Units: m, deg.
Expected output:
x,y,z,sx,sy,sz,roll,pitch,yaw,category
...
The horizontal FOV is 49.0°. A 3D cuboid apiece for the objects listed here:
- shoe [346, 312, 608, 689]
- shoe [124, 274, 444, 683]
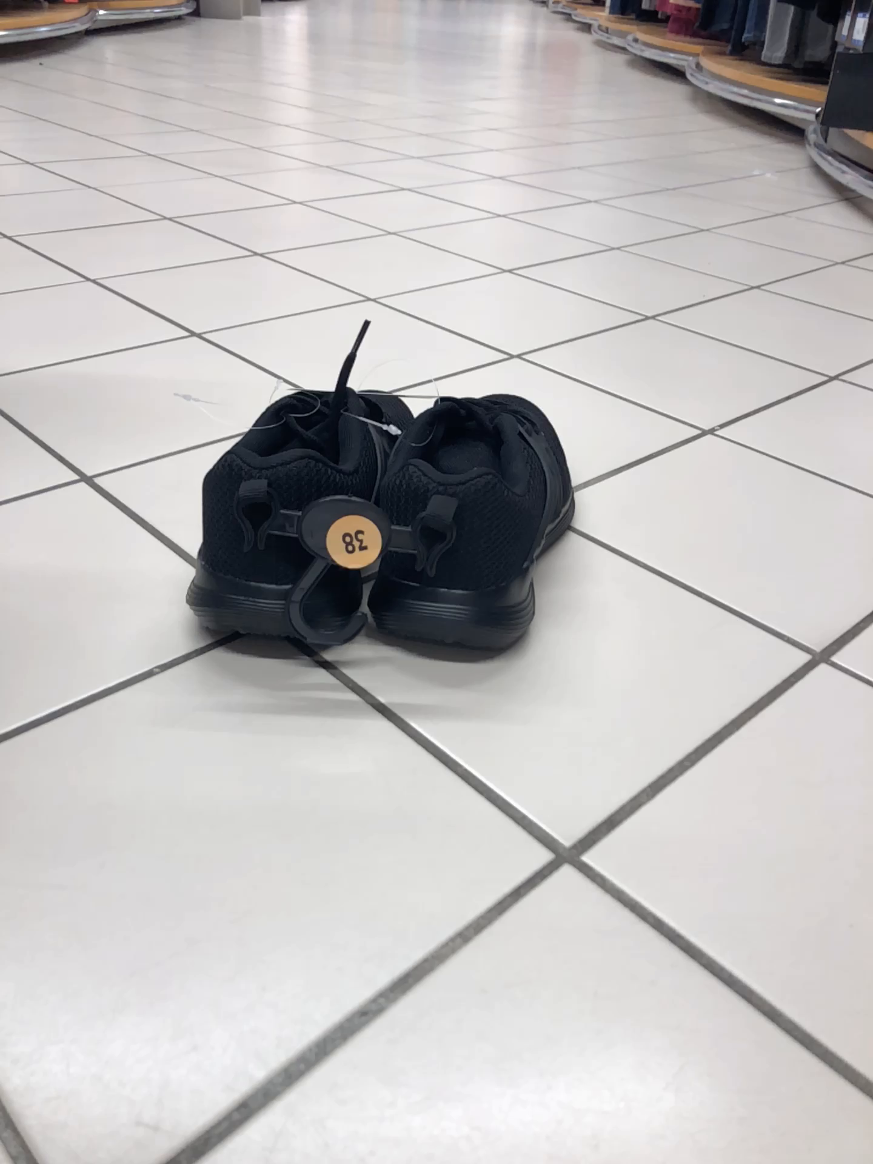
x,y,z,sx,sy,sz,roll,pitch,yaw,category
0.033,-0.065,0.567,0.100,0.109,0.252,10,33,9,shoe
-0.068,-0.079,0.554,0.100,0.119,0.272,7,32,6,shoe
